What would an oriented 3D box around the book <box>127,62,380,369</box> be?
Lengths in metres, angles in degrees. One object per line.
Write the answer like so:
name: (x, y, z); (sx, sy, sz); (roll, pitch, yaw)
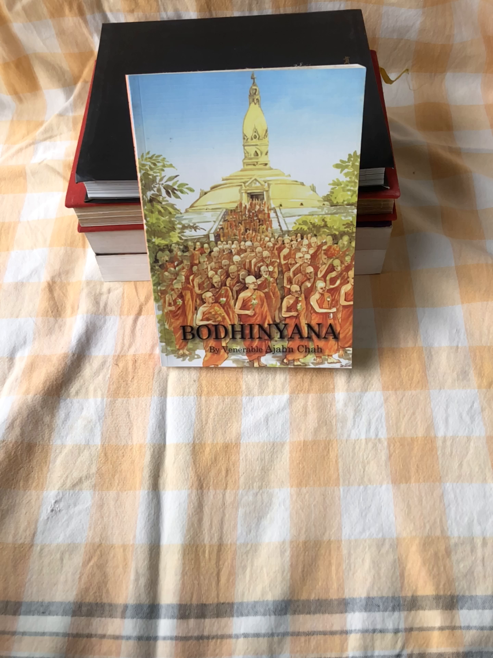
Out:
book: (0.005, -0.071, 0.375); (0.150, 0.200, 0.030); (1, 23, 4)
